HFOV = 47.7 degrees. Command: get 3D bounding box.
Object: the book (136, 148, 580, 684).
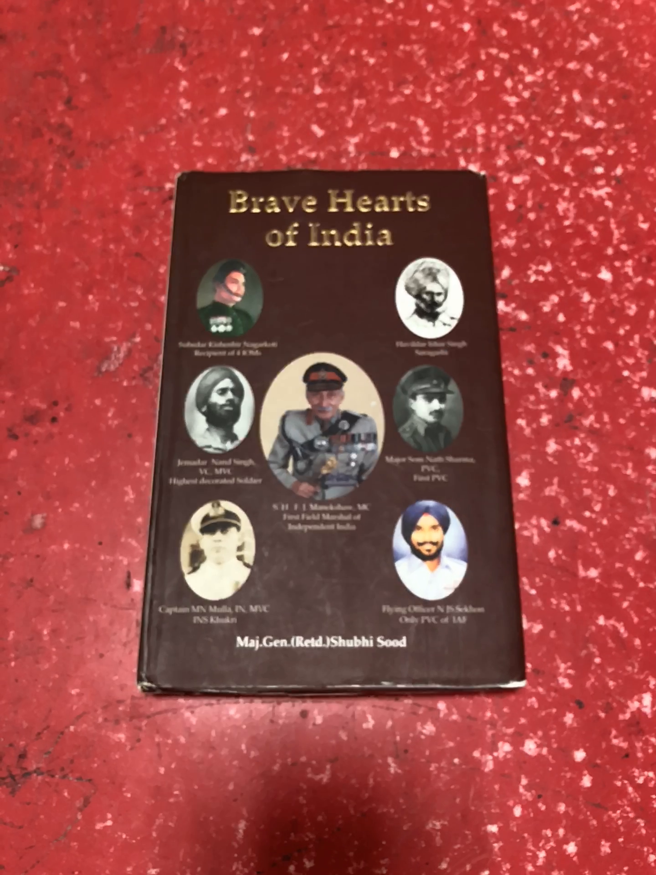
[{"bbox_3d":[0.010,-0.016,0.301,0.150,0.030,0.220,0,71,1],"label":"book"}]
